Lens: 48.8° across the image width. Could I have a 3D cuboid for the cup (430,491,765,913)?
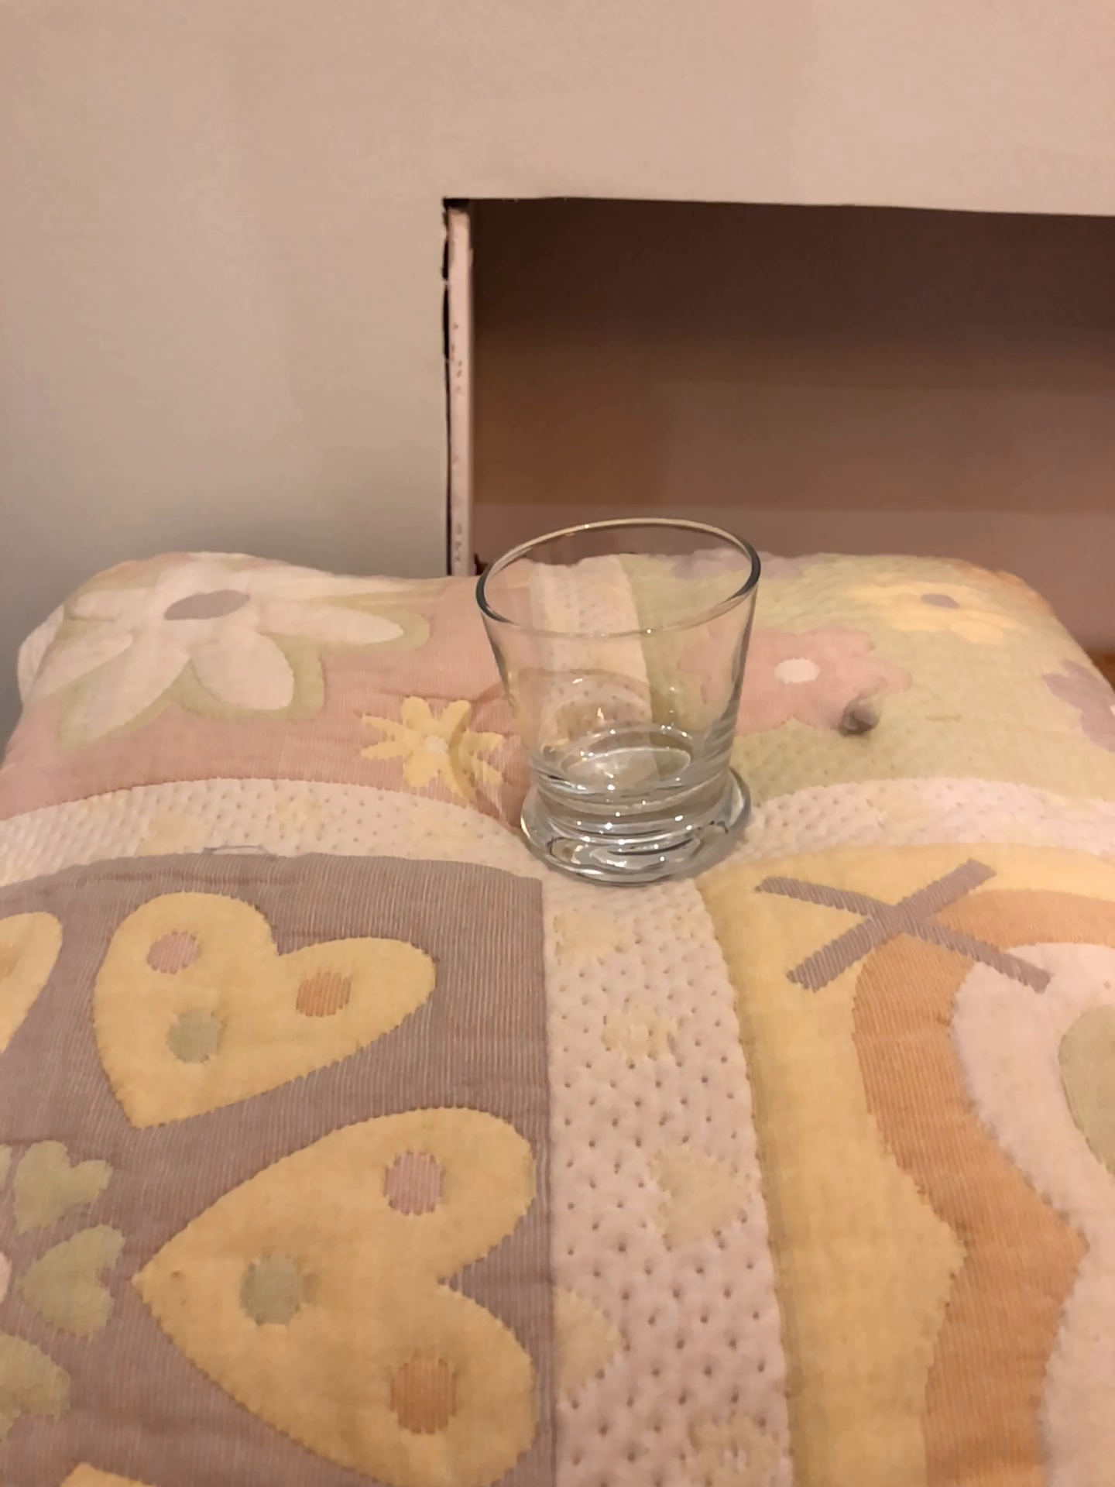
[{"bbox_3d":[0.011,-0.016,0.370,0.080,0.089,0.080,-4,28,2],"label":"cup"}]
